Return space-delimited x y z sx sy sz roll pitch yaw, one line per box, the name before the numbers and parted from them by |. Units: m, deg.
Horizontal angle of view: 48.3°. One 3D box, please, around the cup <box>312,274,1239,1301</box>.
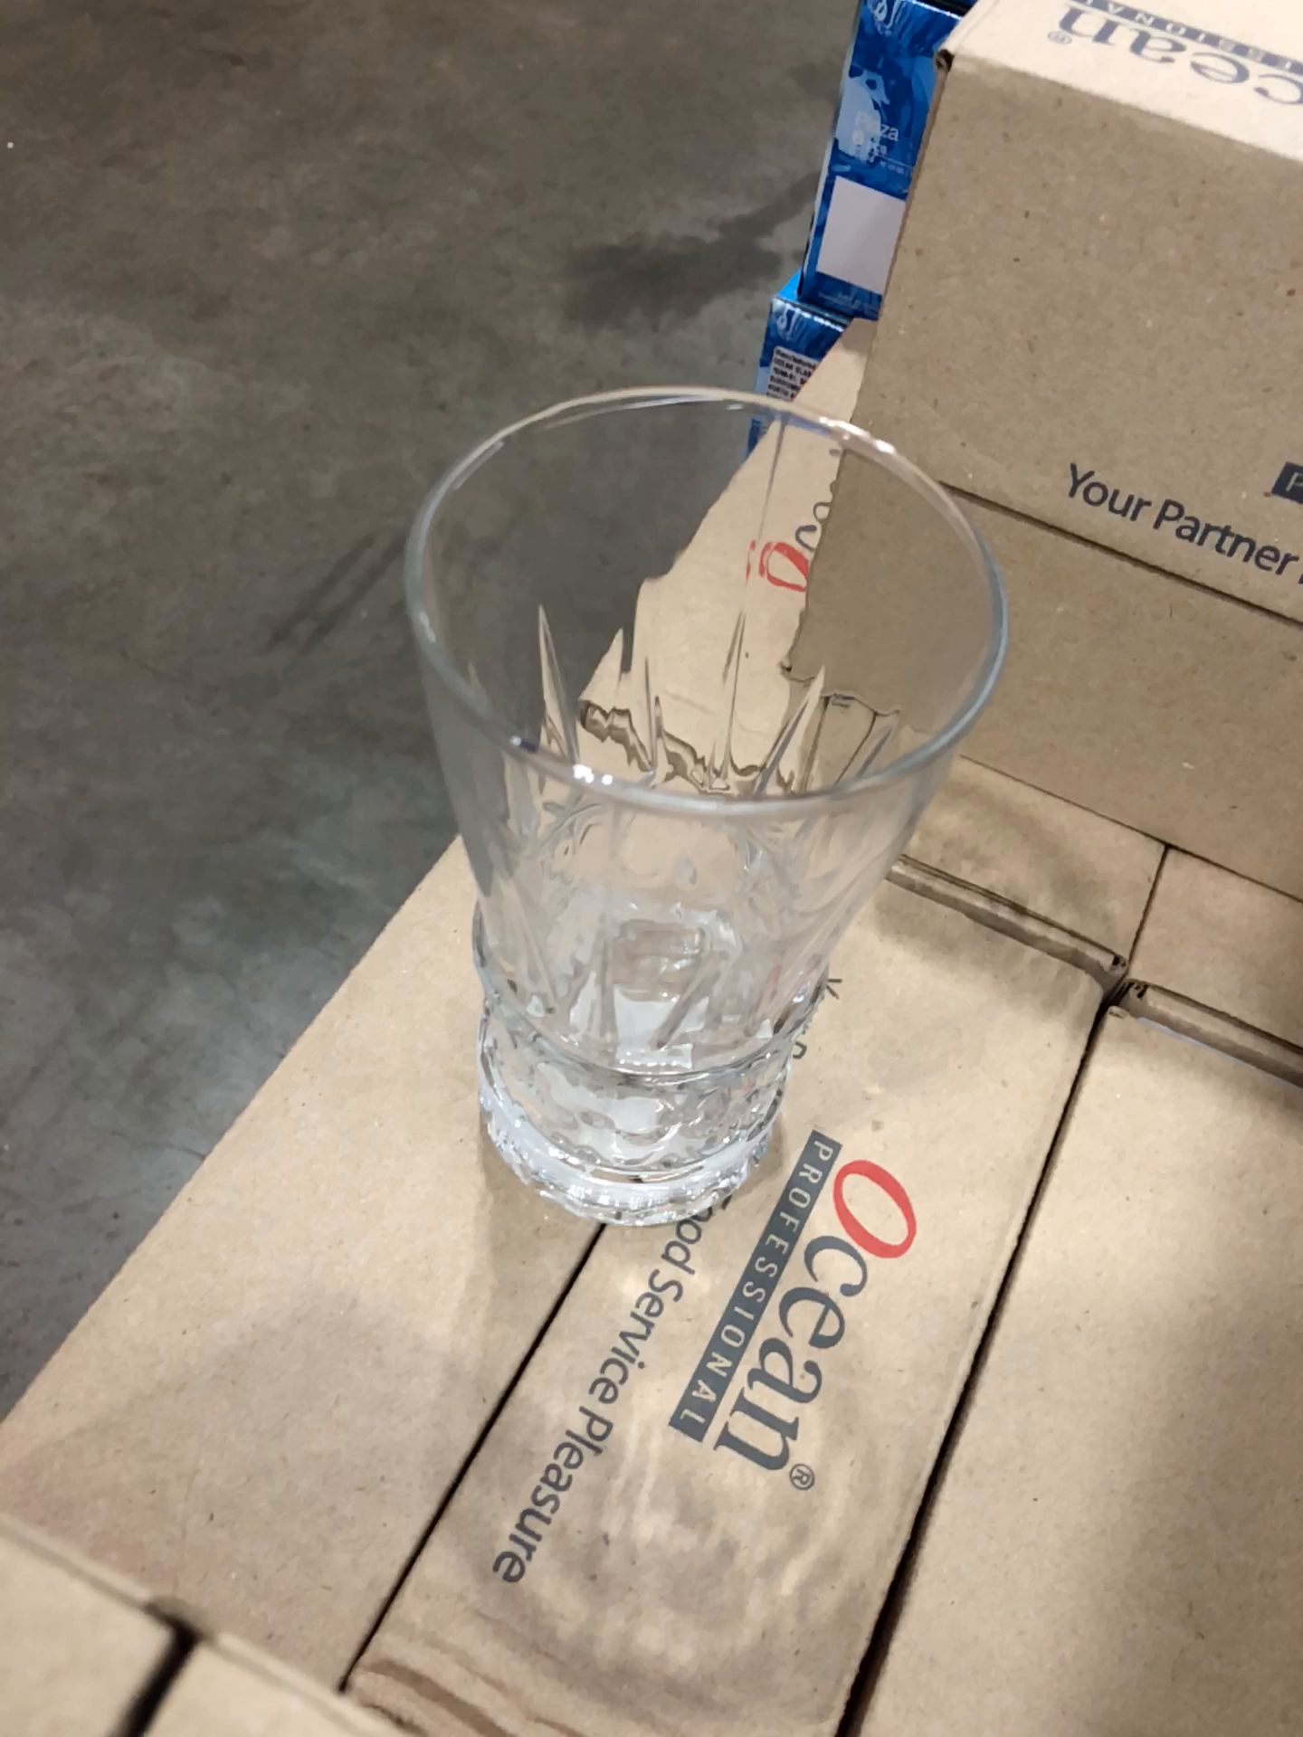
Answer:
cup | 0.002 -0.008 0.236 0.100 0.130 0.100 4 53 -5
